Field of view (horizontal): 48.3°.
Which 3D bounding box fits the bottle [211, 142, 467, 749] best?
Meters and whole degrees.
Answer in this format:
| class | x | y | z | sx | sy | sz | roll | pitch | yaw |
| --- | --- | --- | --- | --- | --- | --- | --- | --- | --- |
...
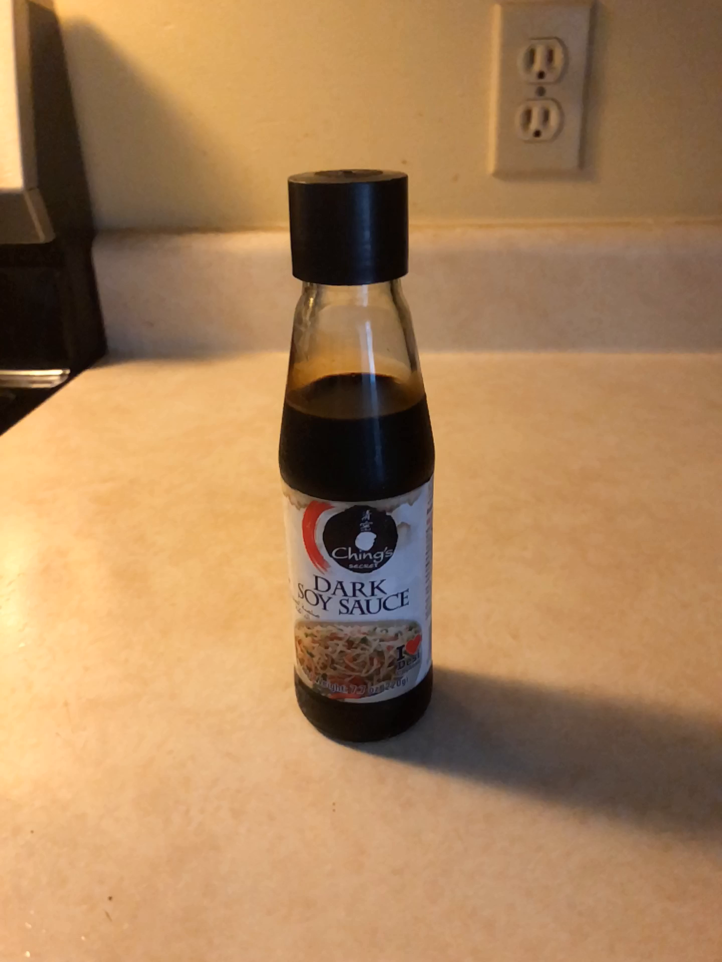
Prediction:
| class | x | y | z | sx | sy | sz | roll | pitch | yaw |
| --- | --- | --- | --- | --- | --- | --- | --- | --- | --- |
| bottle | -0.002 | -0.007 | 0.254 | 0.060 | 0.179 | 0.060 | -2 | 25 | 1 |
